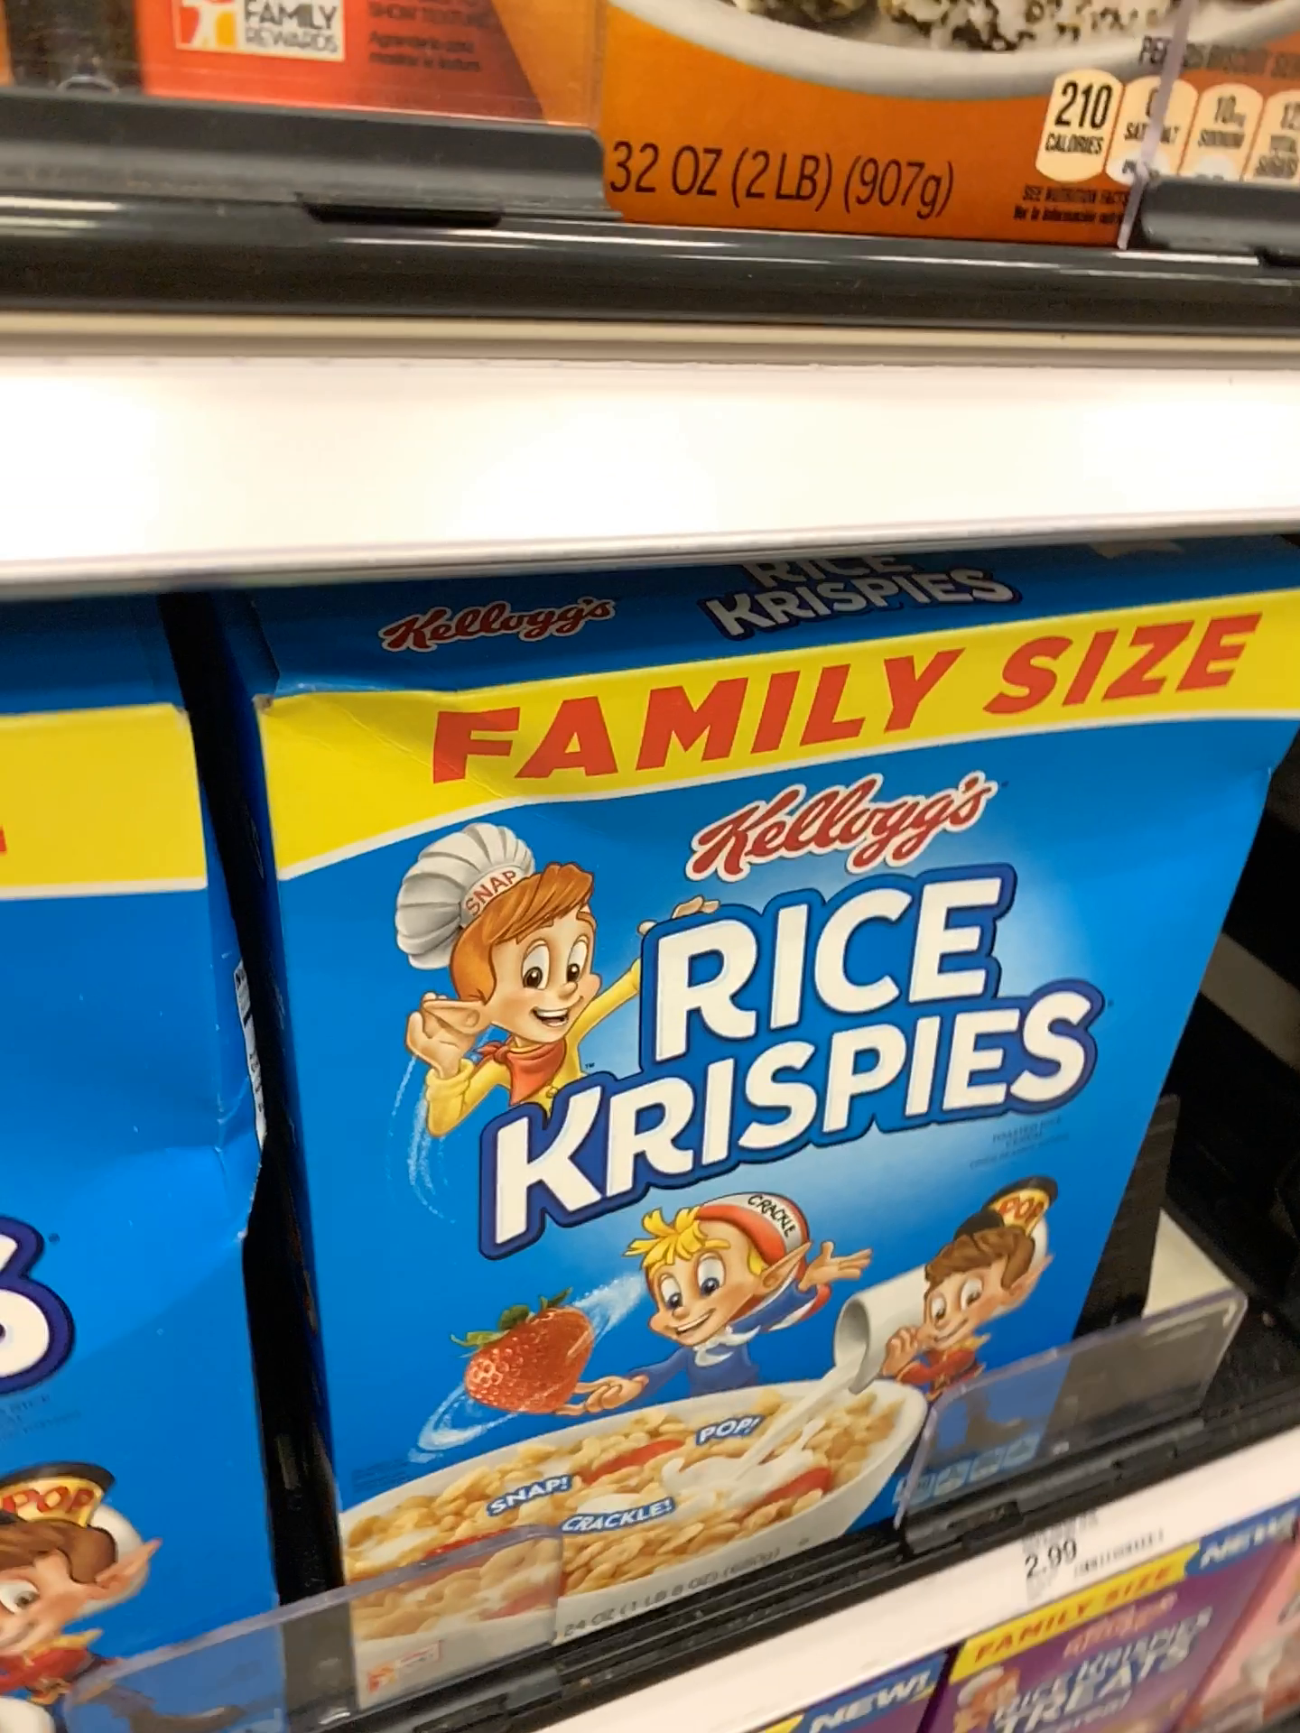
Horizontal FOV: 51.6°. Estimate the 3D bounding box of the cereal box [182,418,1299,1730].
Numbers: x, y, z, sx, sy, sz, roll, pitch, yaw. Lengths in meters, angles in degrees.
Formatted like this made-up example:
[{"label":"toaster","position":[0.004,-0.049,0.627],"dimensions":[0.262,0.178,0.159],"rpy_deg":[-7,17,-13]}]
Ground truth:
[{"label":"cereal box","position":[0.017,0.063,0.393],"dimensions":[0.250,0.348,0.100],"rpy_deg":[-10,35,-24]}]
